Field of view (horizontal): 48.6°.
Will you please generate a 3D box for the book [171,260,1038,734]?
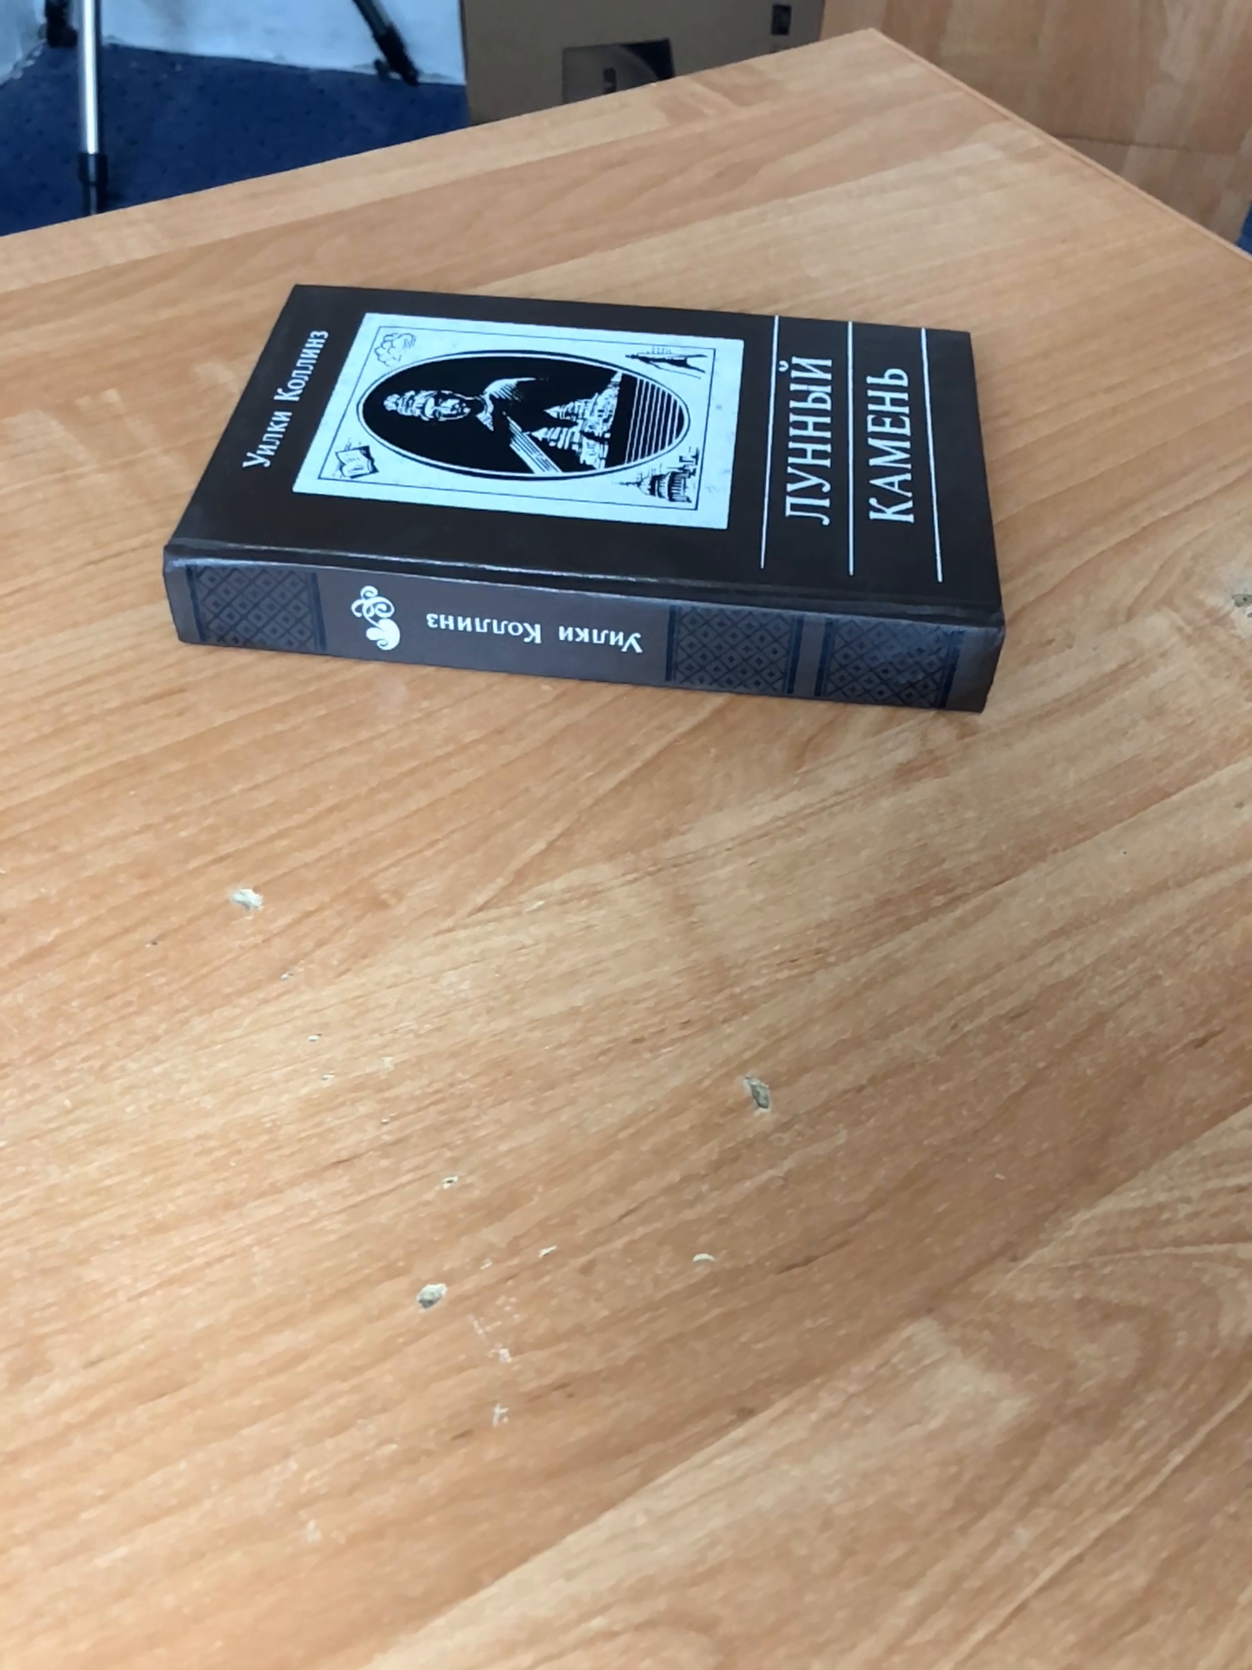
[{"bbox_3d":[-0.001,-0.096,0.371,0.199,0.032,0.134,5,51,0],"label":"book"}]
